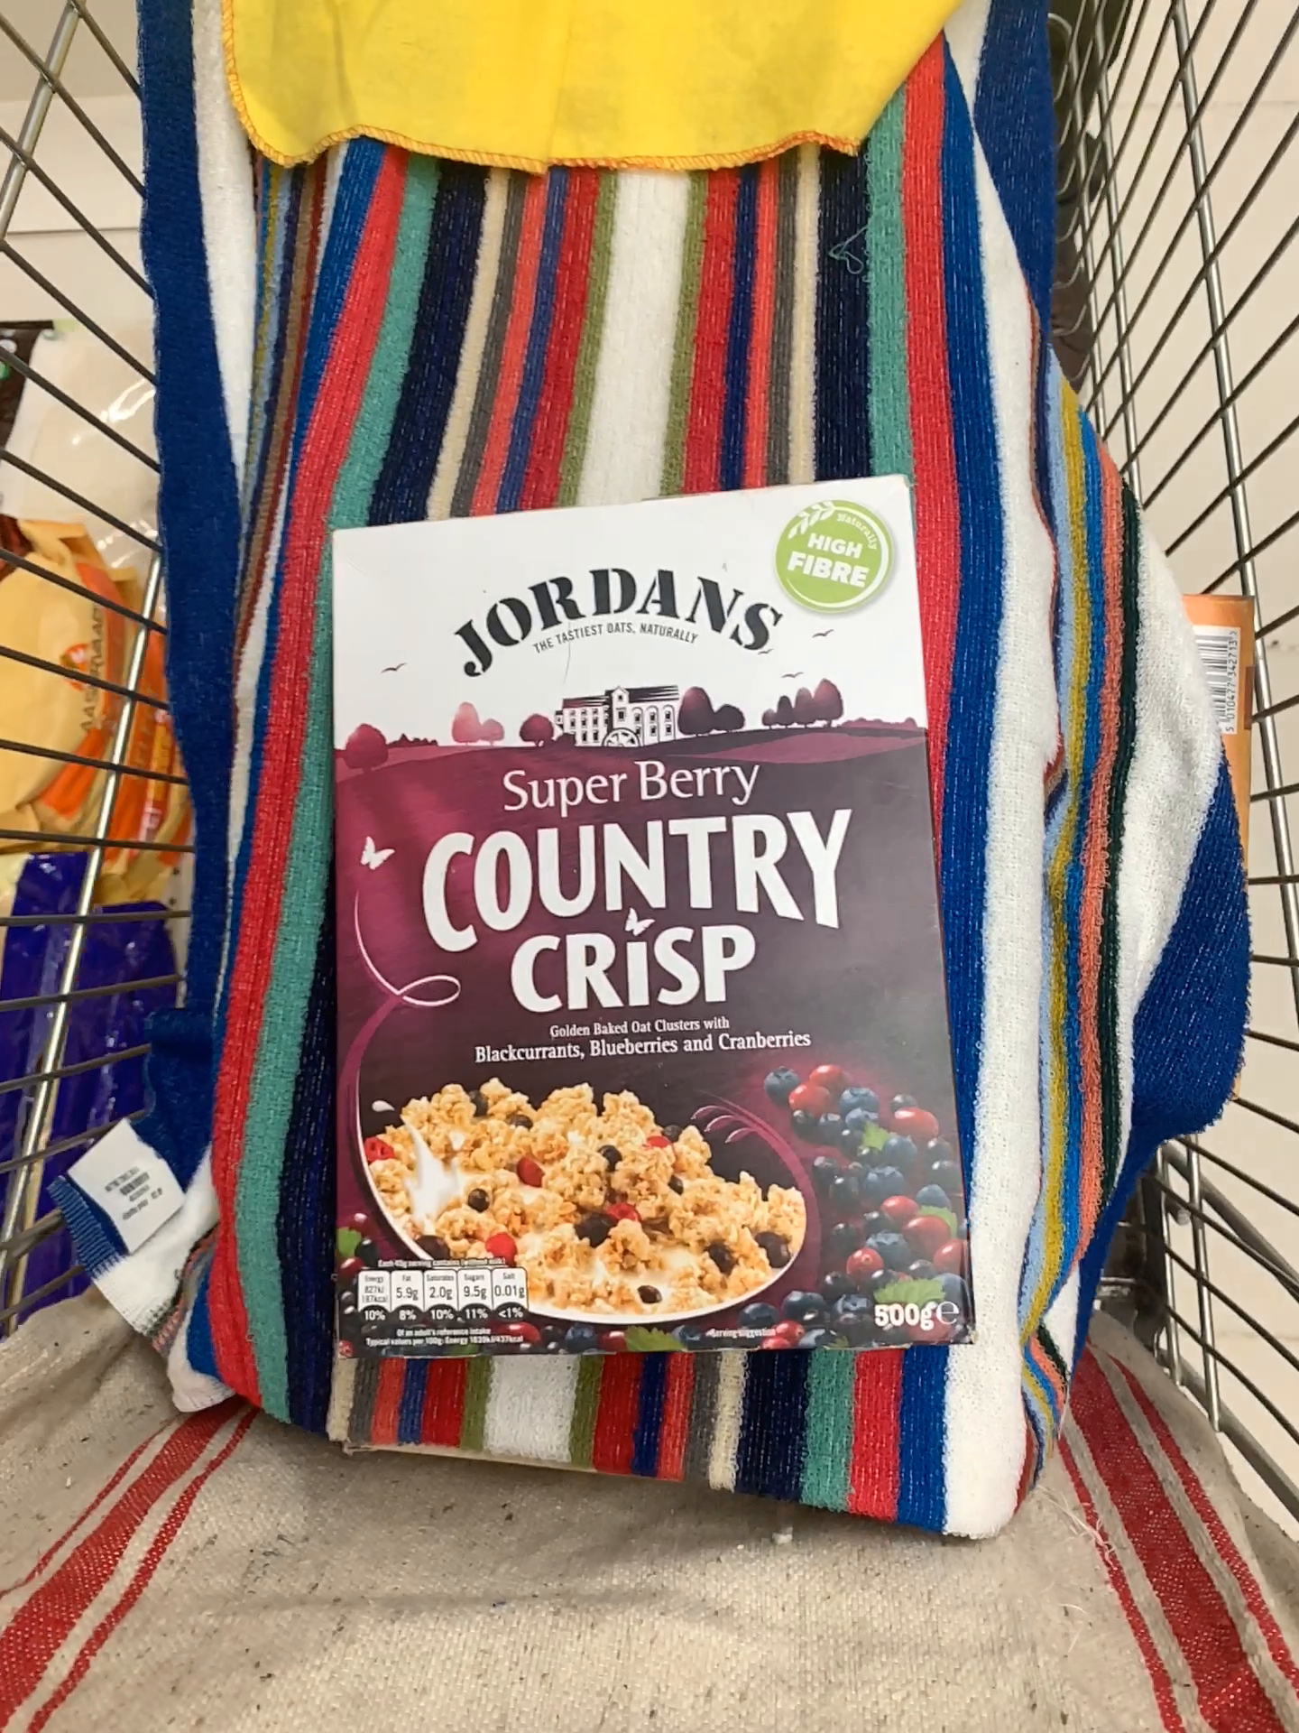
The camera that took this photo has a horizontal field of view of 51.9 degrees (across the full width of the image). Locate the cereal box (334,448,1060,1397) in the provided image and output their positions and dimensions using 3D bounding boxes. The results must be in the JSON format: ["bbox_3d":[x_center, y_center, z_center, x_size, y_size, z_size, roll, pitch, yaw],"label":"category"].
[{"bbox_3d":[0.008,0.017,0.381,0.180,0.060,0.240,-4,79,8],"label":"cereal box"}]
